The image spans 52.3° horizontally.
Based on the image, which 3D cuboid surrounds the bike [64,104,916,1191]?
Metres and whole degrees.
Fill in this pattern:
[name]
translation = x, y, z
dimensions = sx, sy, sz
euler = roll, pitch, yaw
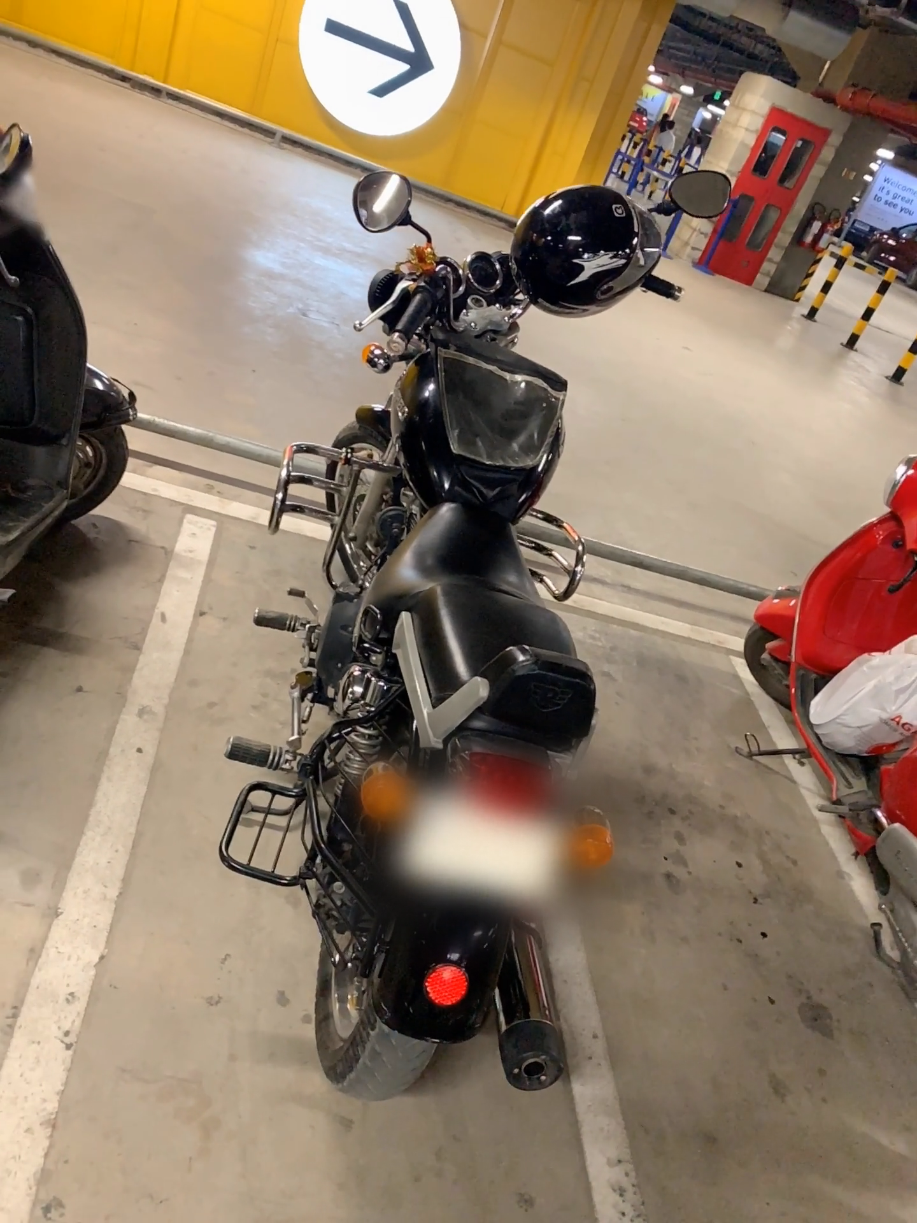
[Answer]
[bike]
translation = -0.143, -0.185, 2.049
dimensions = 0.829, 1.228, 2.085
euler = 13, 31, -17
